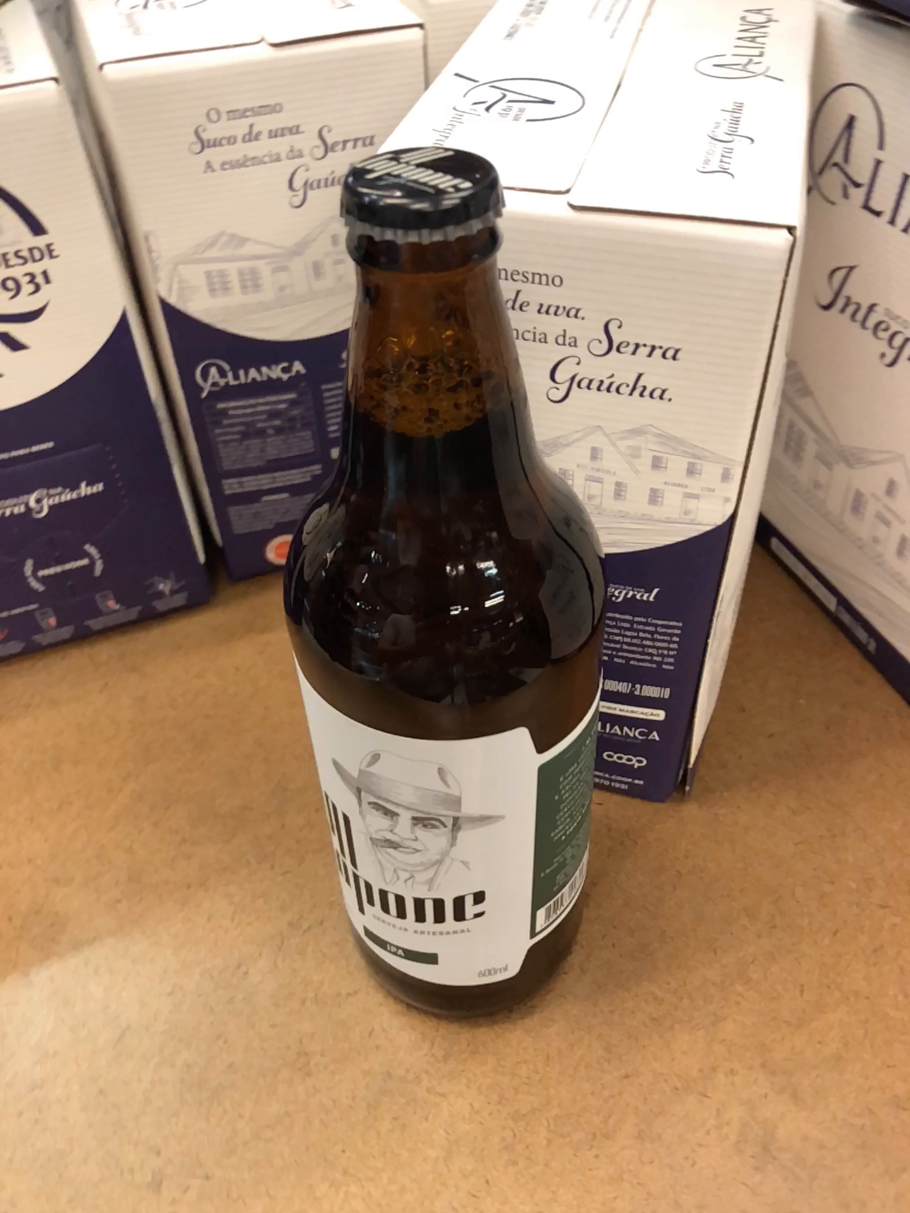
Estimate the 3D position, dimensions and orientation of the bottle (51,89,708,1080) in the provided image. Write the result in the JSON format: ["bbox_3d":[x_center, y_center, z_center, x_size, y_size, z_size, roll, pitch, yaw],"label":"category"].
[{"bbox_3d":[-0.005,0.016,0.240,0.080,0.228,0.070,19,48,21],"label":"bottle"}]
